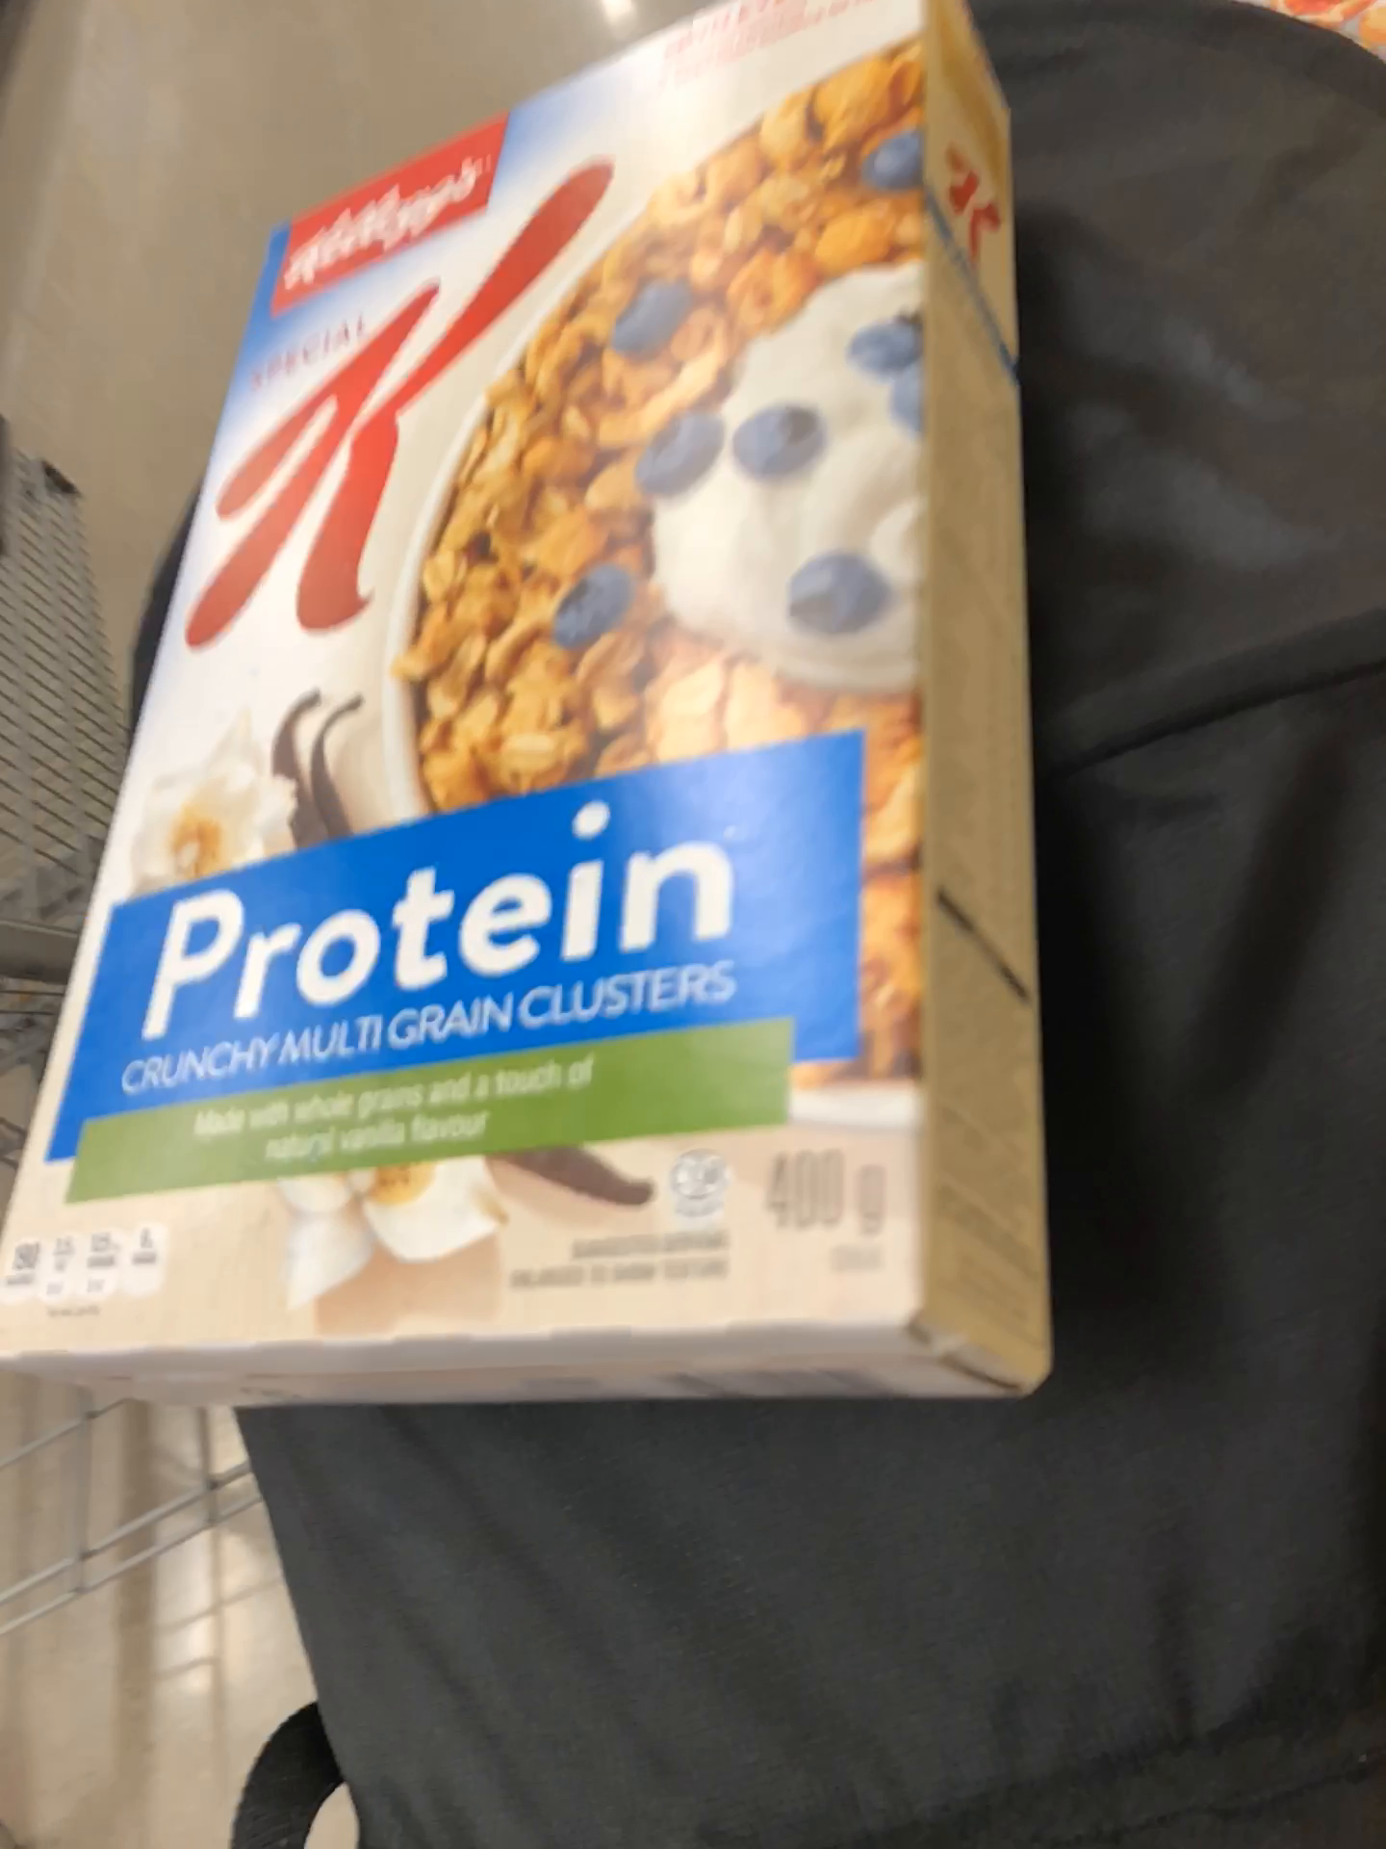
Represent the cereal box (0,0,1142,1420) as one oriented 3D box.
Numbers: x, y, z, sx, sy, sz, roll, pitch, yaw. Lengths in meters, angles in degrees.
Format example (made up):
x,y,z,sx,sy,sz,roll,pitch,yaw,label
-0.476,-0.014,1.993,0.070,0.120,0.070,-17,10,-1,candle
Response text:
x,y,z,sx,sy,sz,roll,pitch,yaw,label
-0.027,-0.055,0.279,0.191,0.050,0.270,-11,58,29,cereal box
